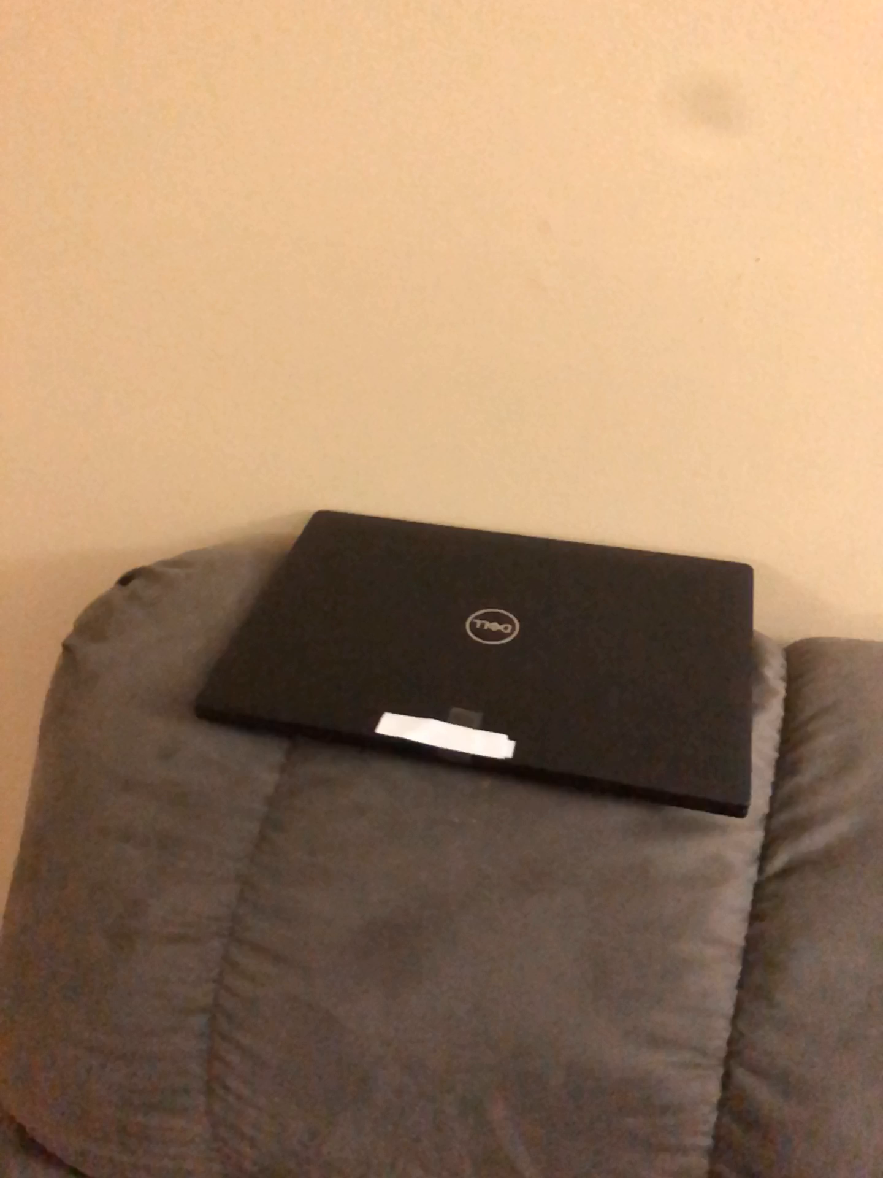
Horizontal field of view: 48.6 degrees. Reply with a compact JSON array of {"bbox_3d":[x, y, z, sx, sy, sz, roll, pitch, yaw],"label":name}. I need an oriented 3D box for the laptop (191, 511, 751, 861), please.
[{"bbox_3d":[0.030,0.043,0.643,0.326,0.030,0.215,9,39,14],"label":"laptop"}]
